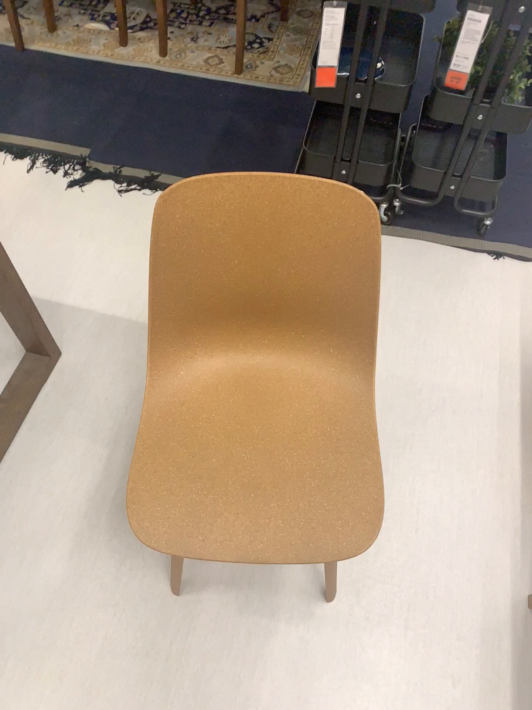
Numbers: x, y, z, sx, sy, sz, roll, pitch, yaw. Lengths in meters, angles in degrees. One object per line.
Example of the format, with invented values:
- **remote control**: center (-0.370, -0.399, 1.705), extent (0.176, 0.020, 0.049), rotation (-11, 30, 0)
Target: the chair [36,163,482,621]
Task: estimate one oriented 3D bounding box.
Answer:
- **chair**: center (-0.004, 0.134, 0.977), extent (0.440, 0.718, 0.521), rotation (3, 57, 0)
